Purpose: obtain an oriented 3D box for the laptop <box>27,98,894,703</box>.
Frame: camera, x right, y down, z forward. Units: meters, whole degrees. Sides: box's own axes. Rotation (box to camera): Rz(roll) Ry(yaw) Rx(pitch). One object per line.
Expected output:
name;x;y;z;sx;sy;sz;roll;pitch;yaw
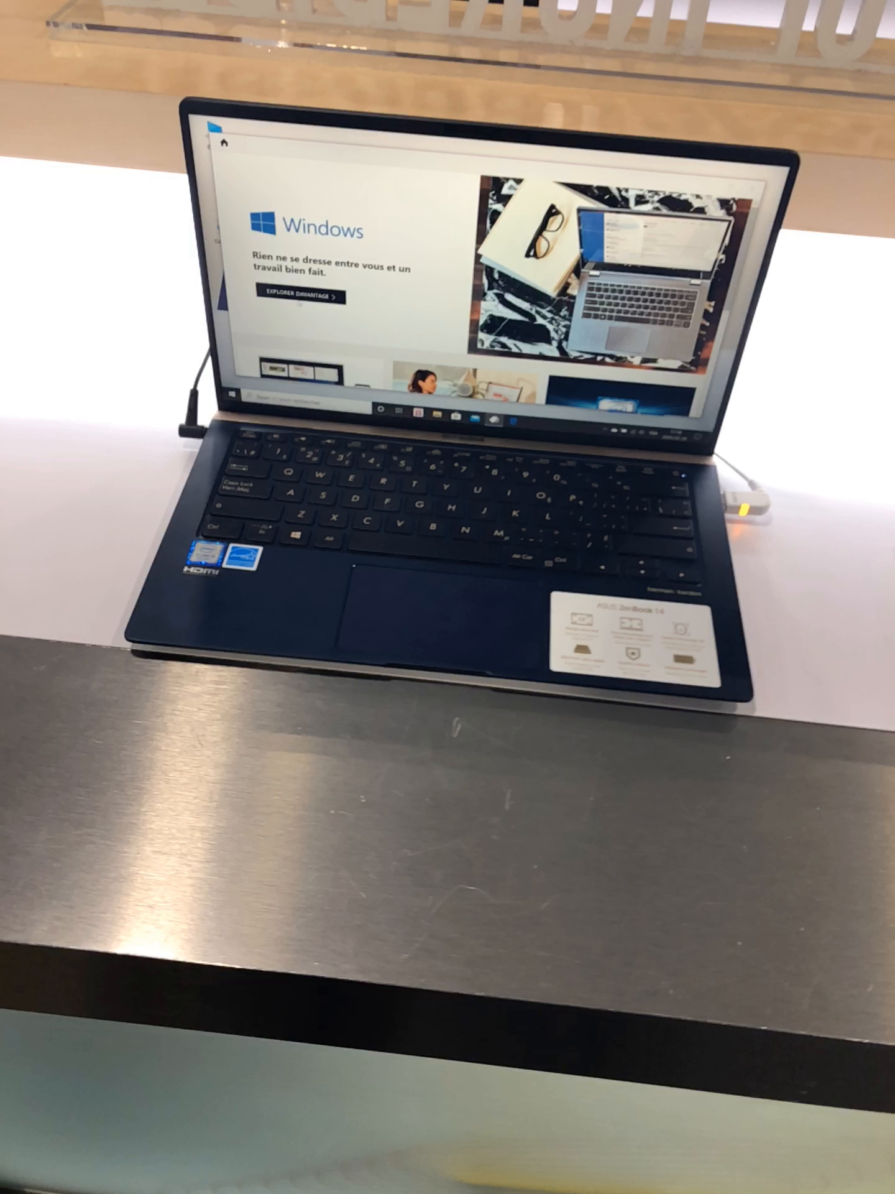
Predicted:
laptop;0.007;-0.095;0.473;0.301;0.182;0.192;5;45;0
